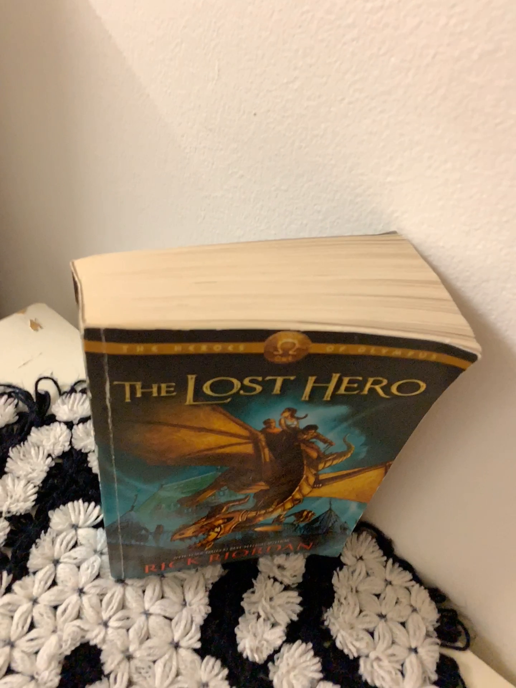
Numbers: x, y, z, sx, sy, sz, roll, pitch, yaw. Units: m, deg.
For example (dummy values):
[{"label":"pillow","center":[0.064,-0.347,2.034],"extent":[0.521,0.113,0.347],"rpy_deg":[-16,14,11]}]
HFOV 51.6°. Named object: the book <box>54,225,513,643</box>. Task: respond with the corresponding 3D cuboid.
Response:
[{"label":"book","center":[-0.005,0.044,0.236],"extent":[0.142,0.177,0.068],"rpy_deg":[-4,42,-17]}]
